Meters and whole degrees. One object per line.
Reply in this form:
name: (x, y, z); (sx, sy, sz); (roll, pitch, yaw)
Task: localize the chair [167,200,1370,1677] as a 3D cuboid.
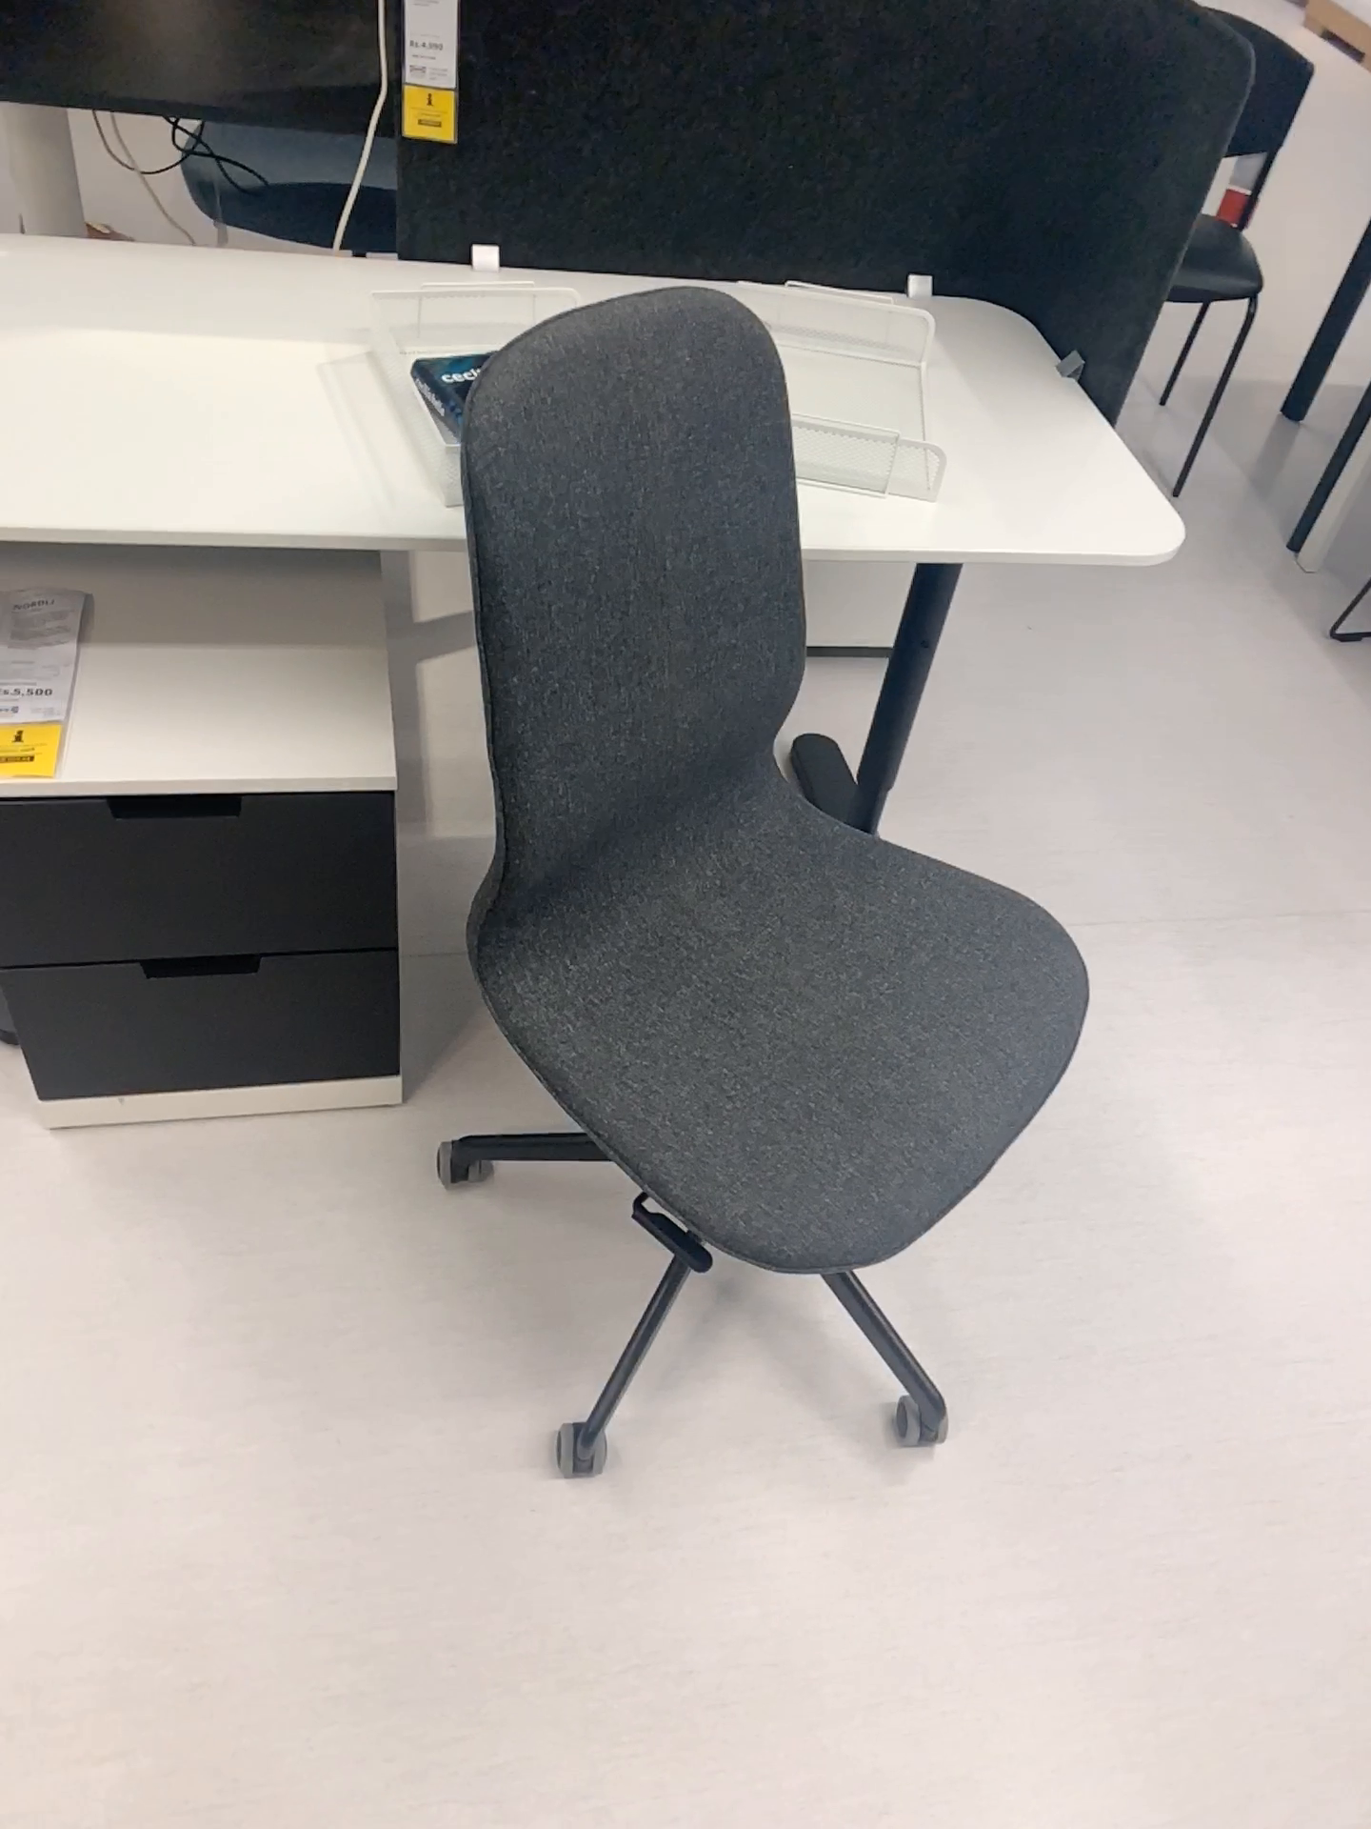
chair: (0.066, 0.047, 1.265); (0.640, 0.996, 0.632); (33, 49, 20)
